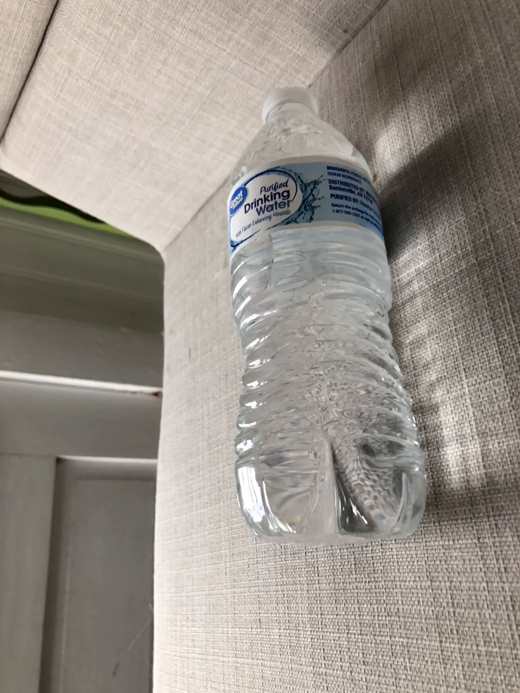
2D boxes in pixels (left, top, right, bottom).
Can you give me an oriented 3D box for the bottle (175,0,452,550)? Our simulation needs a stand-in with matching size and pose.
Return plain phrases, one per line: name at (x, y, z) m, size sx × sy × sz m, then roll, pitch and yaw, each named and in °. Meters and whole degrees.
bottle at (0.016, -0.041, 0.246) m, size 0.070 × 0.080 × 0.231 m, roll -14°, pitch 63°, yaw 21°
